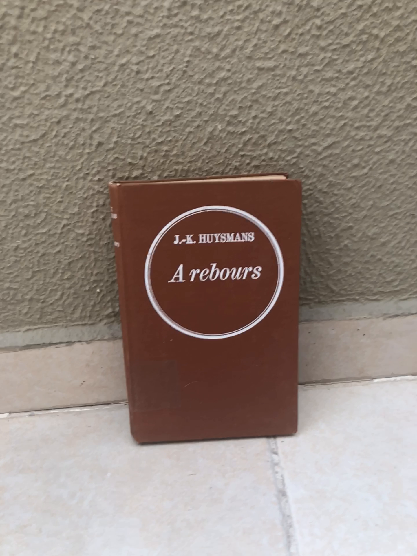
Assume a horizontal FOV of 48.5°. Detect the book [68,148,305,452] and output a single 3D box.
[{"bbox_3d":[-0.009,0.018,0.339,0.150,0.209,0.040,-3,13,-1],"label":"book"}]
